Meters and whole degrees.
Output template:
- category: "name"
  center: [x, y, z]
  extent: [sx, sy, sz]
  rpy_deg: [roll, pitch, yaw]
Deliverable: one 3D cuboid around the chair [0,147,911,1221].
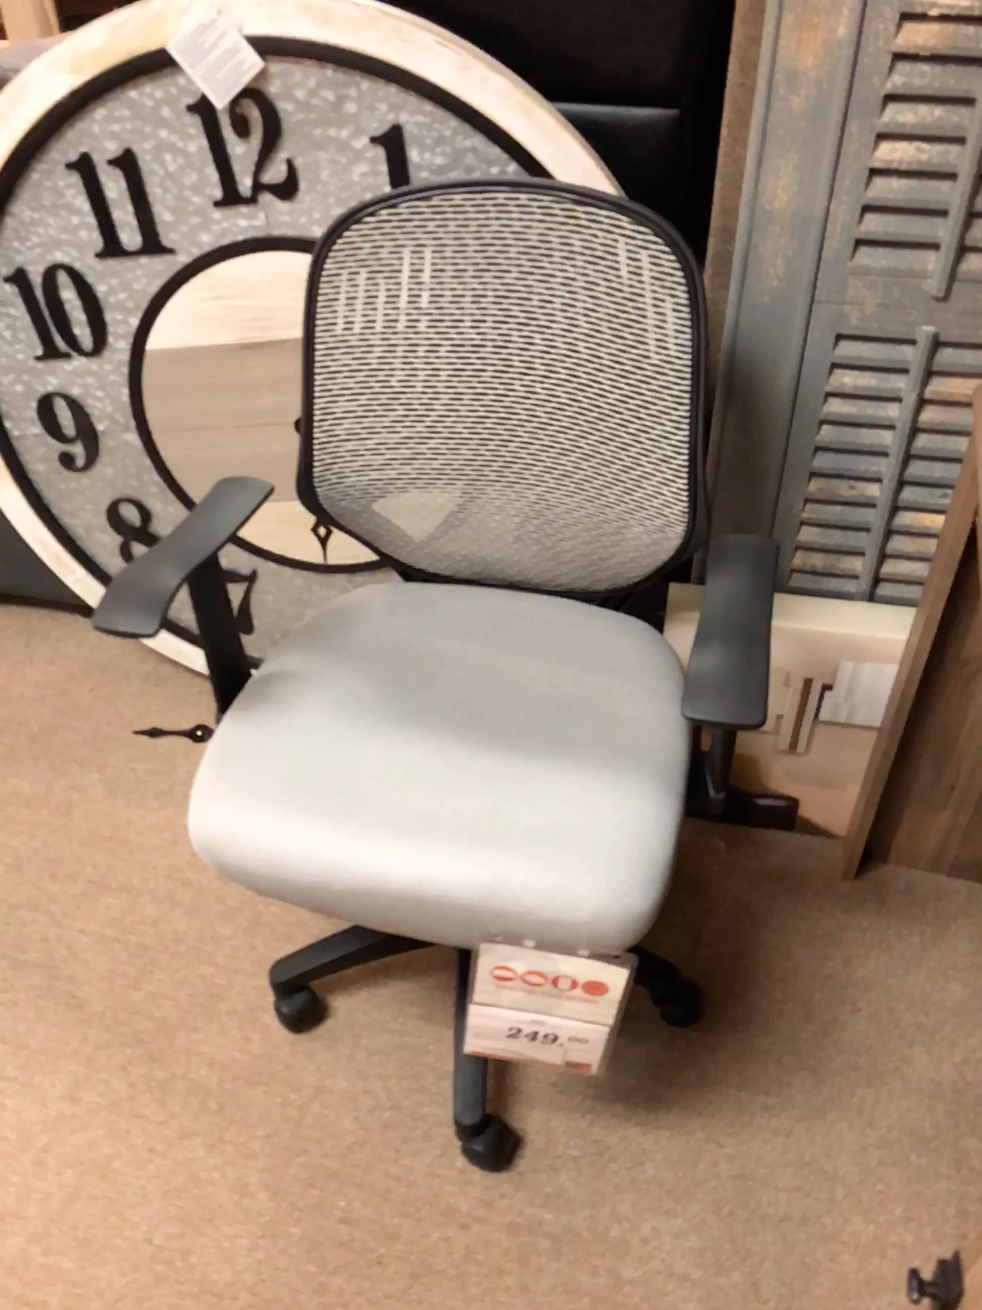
- category: "chair"
  center: [-0.004, 0.022, 1.151]
  extent: [0.610, 0.864, 0.674]
  rpy_deg: [7, 41, 9]
